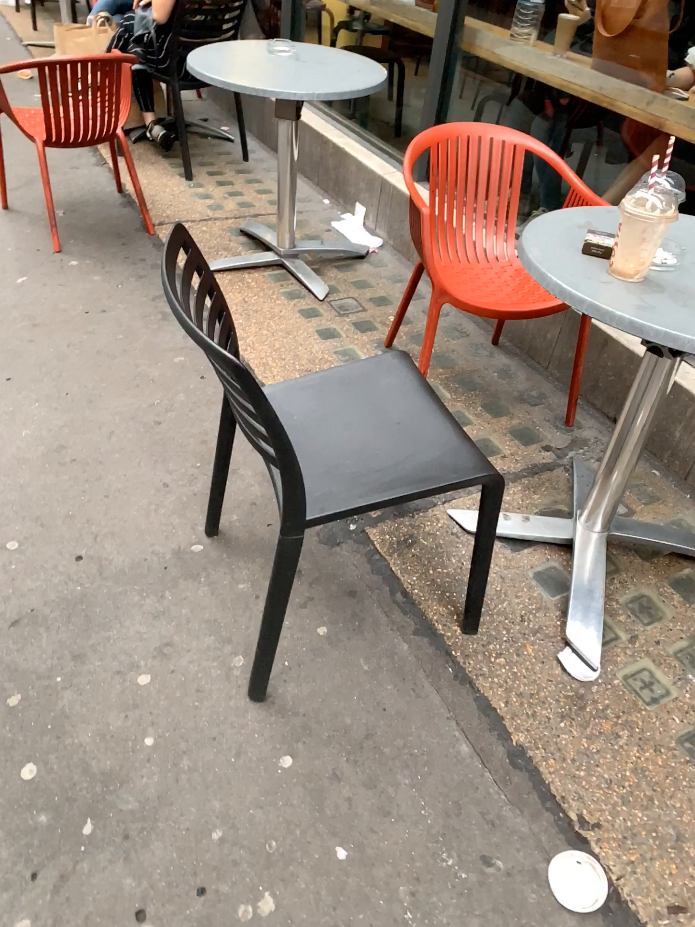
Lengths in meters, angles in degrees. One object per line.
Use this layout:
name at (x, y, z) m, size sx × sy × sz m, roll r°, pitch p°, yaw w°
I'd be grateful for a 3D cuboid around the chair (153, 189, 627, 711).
chair at (0.000, -0.050, 1.380) m, size 0.601 × 0.752 × 0.555 m, roll -10°, pitch 42°, yaw -21°

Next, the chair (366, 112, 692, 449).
chair at (0.453, -0.552, 2.123) m, size 0.570 × 0.742 × 0.646 m, roll -4°, pitch 40°, yaw -14°
